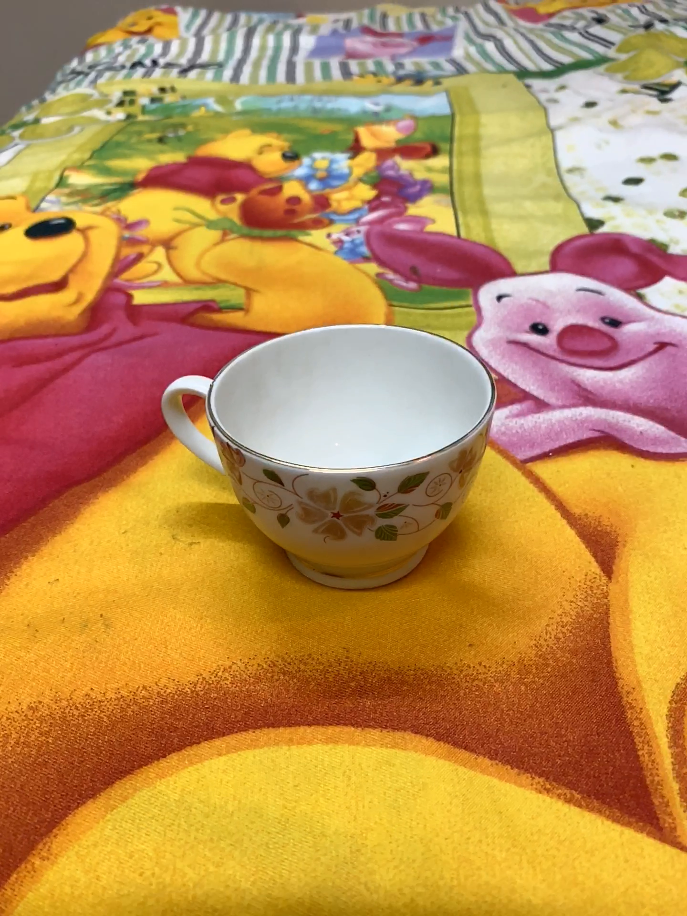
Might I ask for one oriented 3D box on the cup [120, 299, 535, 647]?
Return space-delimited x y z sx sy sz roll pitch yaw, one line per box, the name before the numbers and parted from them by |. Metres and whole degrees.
cup | 0.002 -0.002 0.228 0.100 0.059 0.081 8 39 19
